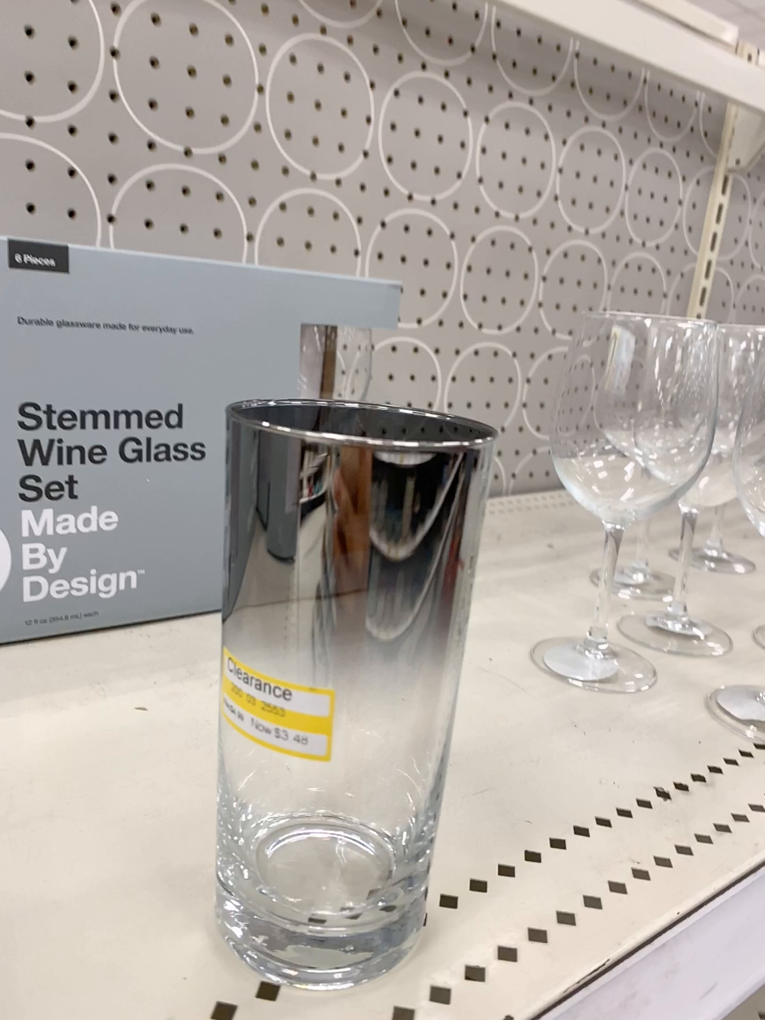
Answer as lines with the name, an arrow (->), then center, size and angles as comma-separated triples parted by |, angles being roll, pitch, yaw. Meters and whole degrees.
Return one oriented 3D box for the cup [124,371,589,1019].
cup -> -0.008, 0.045, 0.210 | 0.080, 0.150, 0.080 | 6, 15, -1
